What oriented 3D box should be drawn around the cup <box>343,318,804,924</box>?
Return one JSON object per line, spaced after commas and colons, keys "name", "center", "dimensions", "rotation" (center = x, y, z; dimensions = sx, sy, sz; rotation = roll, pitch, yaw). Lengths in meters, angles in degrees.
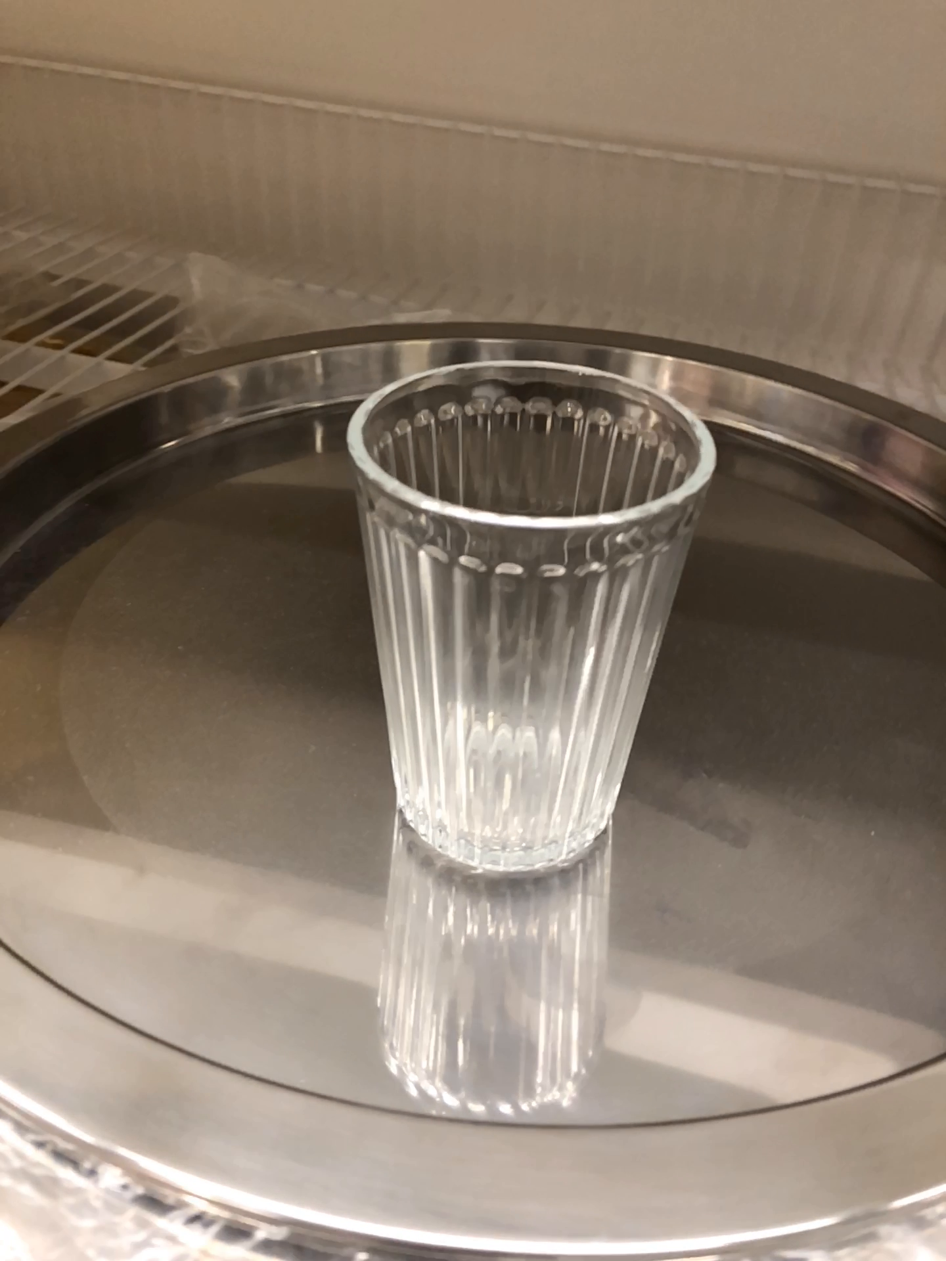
{"name": "cup", "center": [0.012, -0.003, 0.220], "dimensions": [0.070, 0.100, 0.070], "rotation": [1, 35, -1]}
